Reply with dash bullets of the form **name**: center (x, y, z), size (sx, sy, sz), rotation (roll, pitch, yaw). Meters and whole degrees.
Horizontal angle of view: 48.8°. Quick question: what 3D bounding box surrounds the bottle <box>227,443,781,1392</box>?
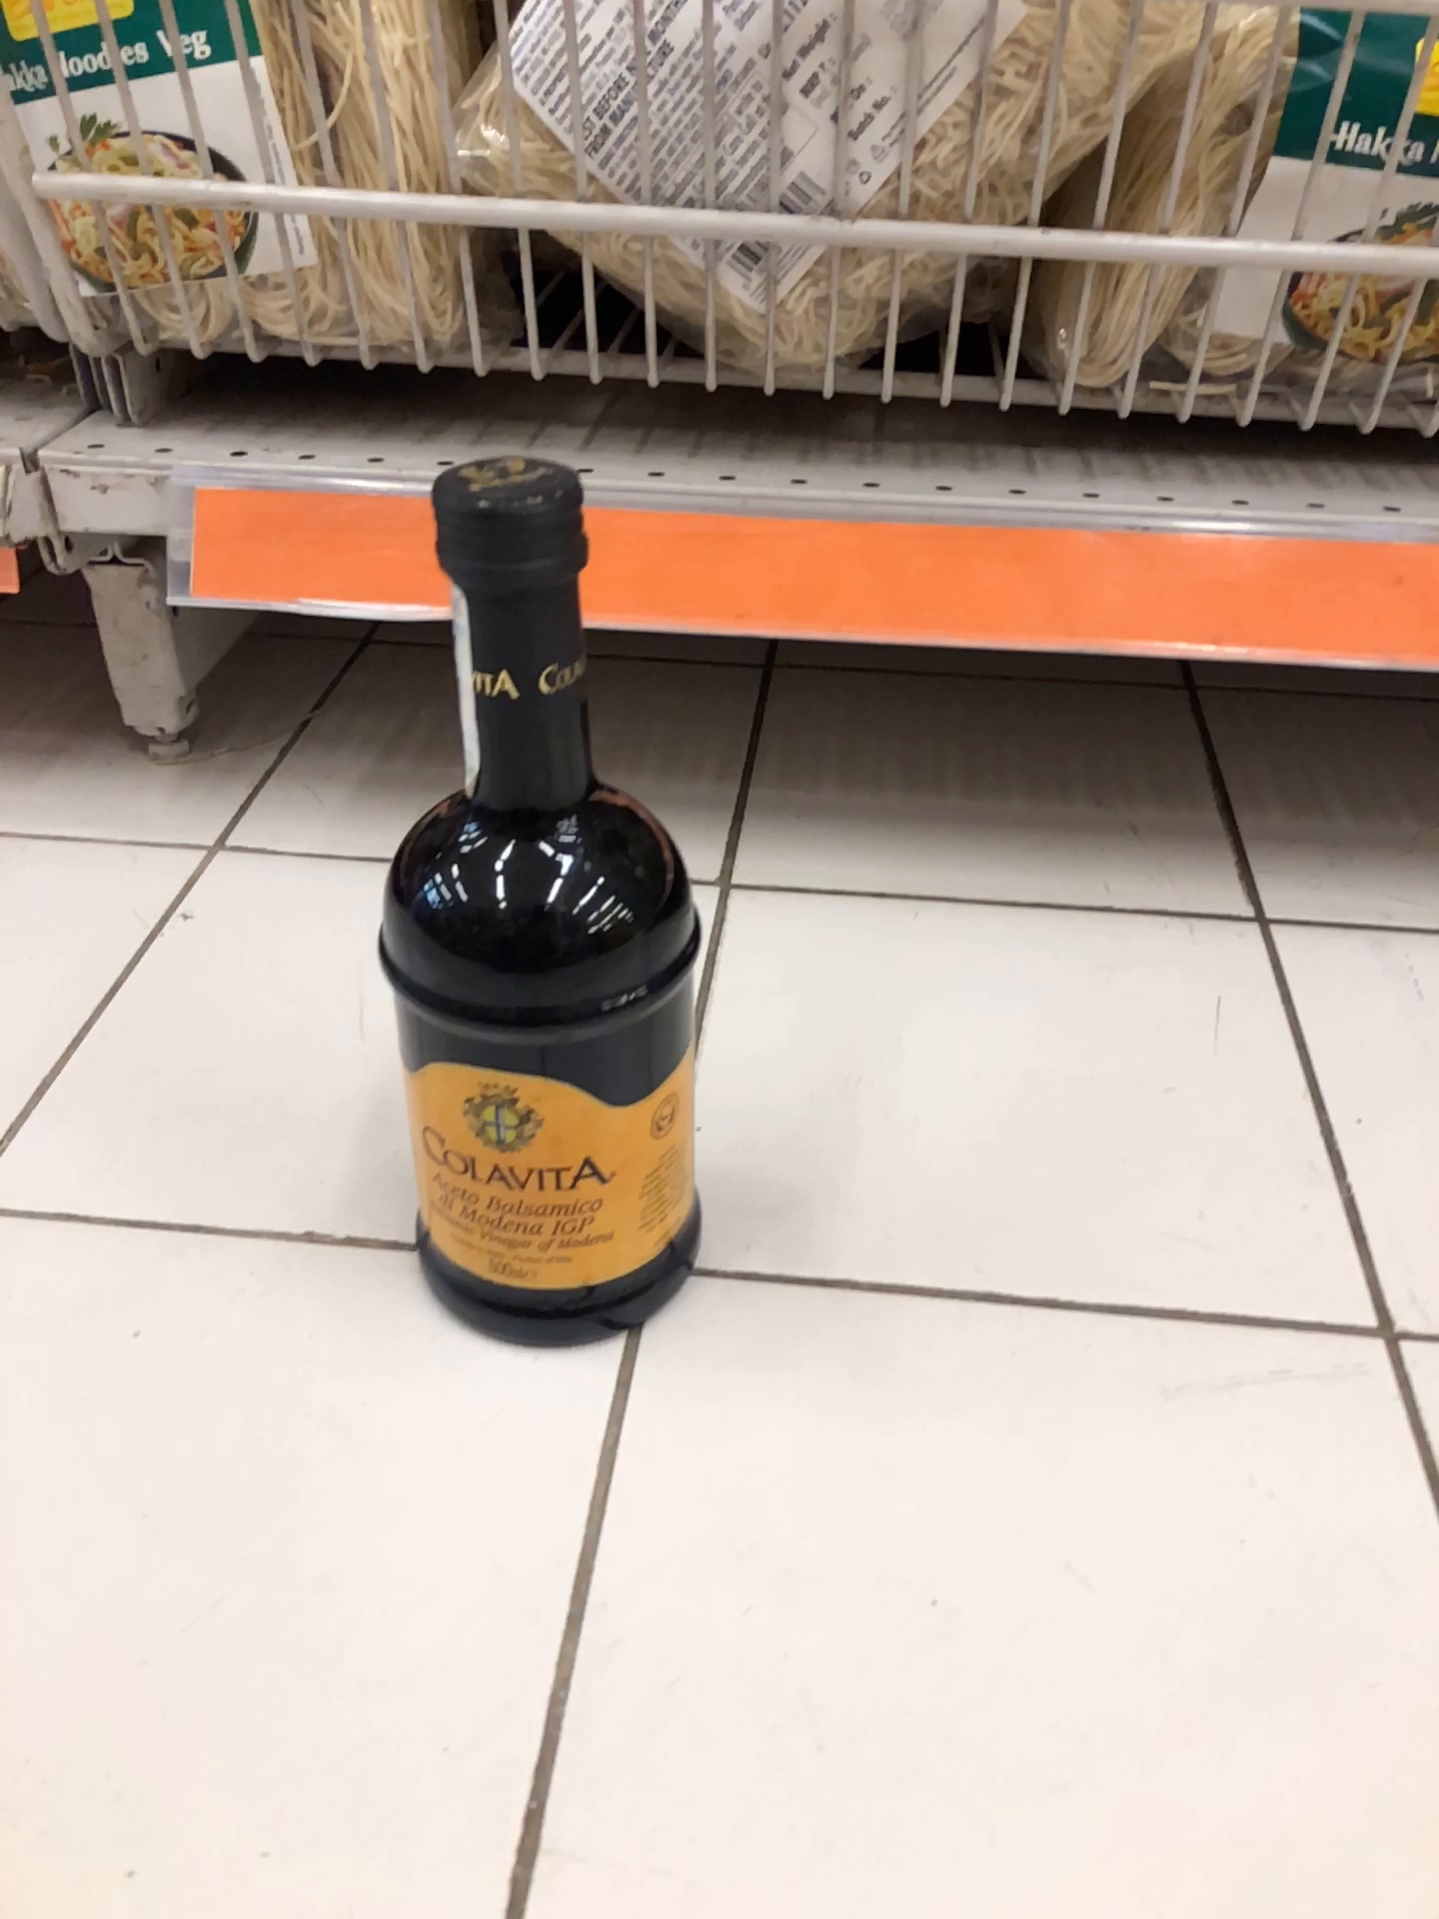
- **bottle**: center (-0.038, -0.006, 0.375), size (0.090, 0.199, 0.091), rotation (0, 34, 0)
